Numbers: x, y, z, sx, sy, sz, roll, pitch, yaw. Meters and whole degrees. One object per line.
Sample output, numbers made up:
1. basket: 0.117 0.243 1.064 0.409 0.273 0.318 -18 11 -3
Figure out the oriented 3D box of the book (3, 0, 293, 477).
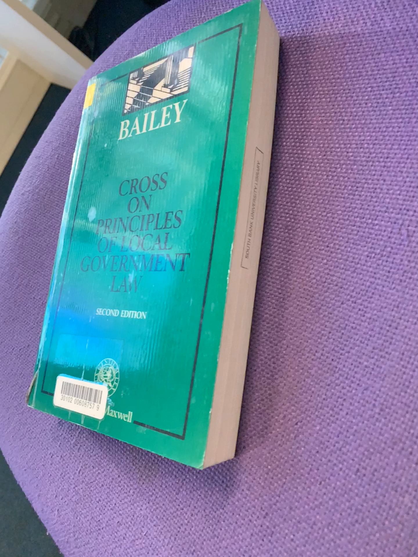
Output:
1. book: -0.042 -0.027 0.267 0.161 0.040 0.236 -1 76 38
